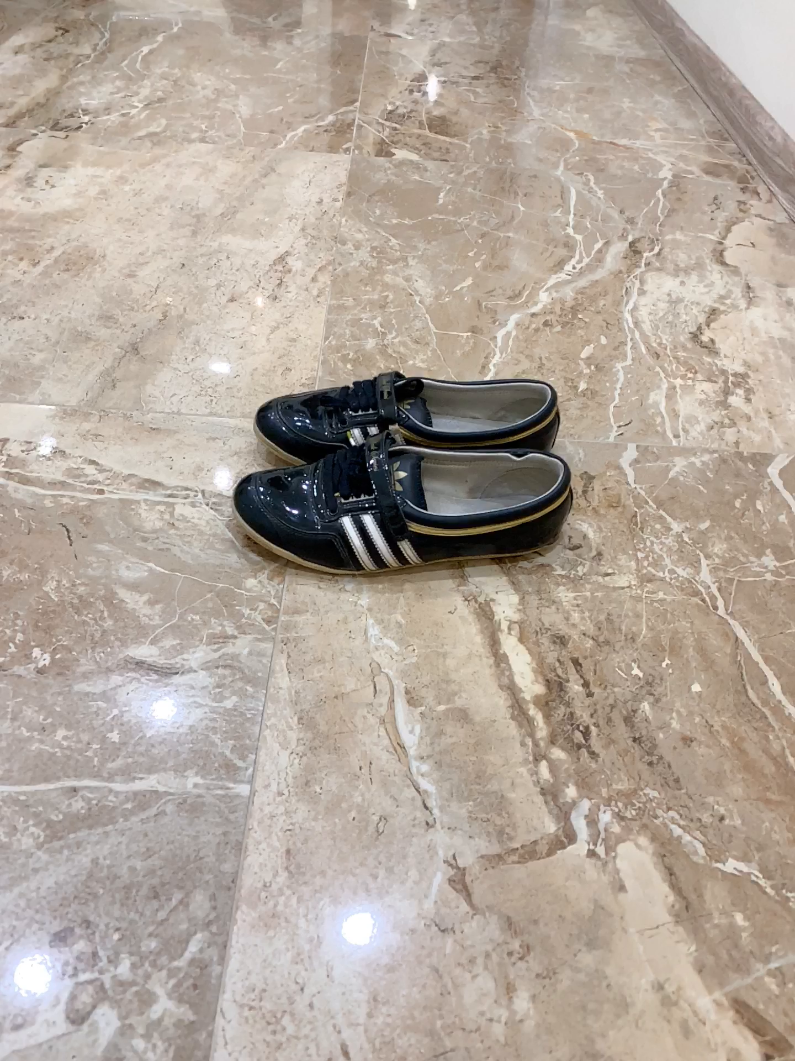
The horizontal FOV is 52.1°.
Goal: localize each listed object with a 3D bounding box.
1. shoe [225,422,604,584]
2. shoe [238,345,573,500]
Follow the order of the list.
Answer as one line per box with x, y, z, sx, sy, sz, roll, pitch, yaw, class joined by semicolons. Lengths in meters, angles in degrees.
0.009;-0.020;0.567;0.240;0.060;0.096;1;44;-4;shoe
0.005;-0.085;0.636;0.240;0.060;0.096;3;44;-2;shoe
